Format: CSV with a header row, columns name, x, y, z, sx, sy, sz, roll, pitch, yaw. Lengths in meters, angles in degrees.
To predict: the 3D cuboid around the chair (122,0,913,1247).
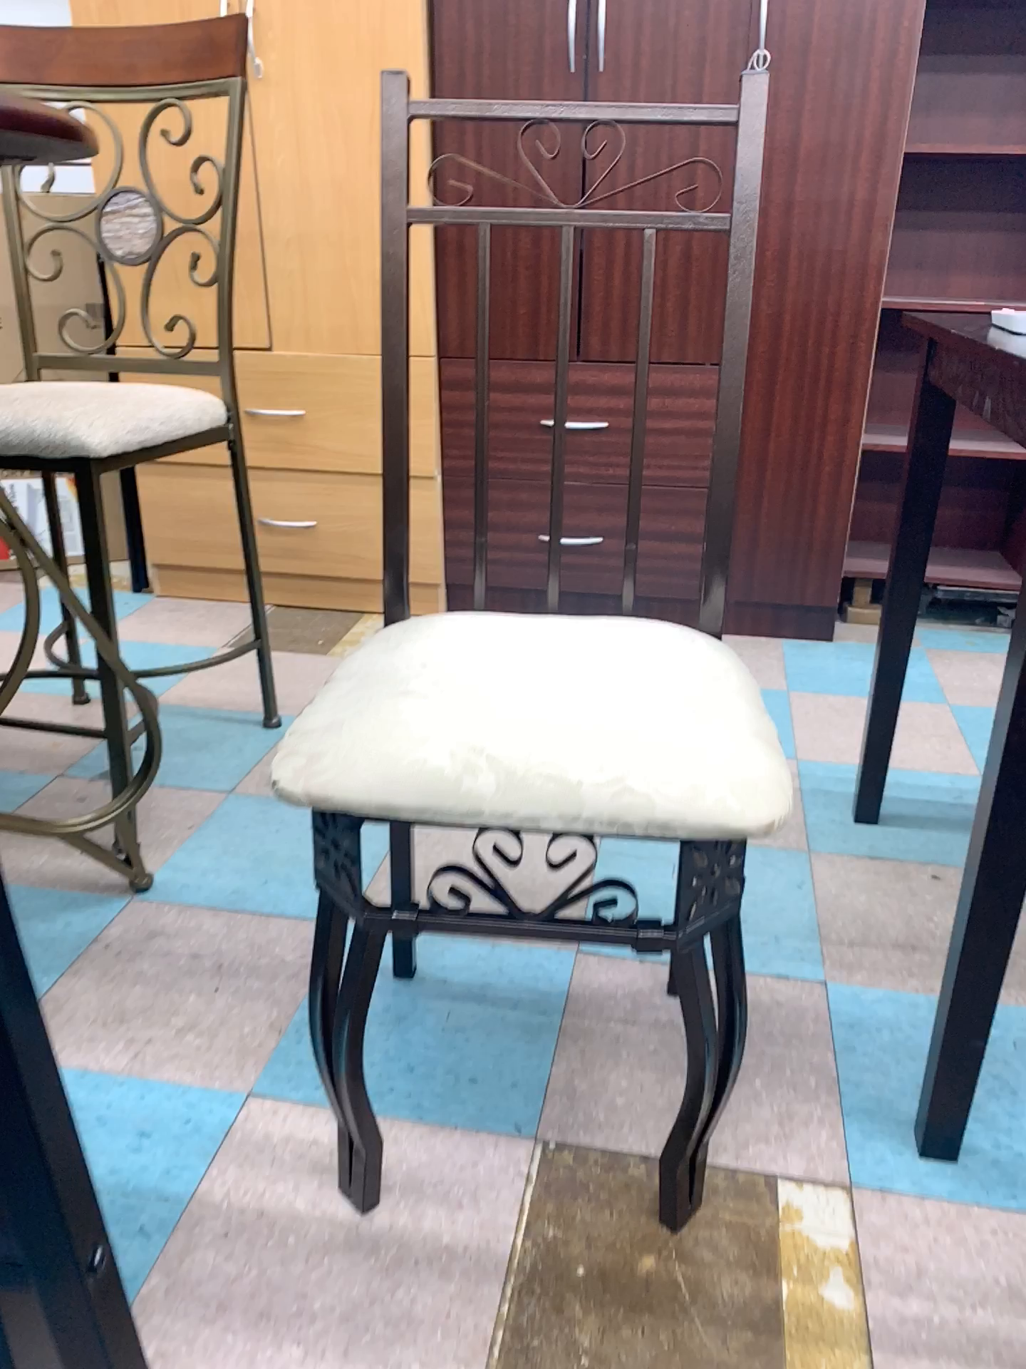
name,x,y,z,sx,sy,sz,roll,pitch,yaw
chair,0.014,-0.056,0.951,0.415,0.950,0.478,2,23,5
